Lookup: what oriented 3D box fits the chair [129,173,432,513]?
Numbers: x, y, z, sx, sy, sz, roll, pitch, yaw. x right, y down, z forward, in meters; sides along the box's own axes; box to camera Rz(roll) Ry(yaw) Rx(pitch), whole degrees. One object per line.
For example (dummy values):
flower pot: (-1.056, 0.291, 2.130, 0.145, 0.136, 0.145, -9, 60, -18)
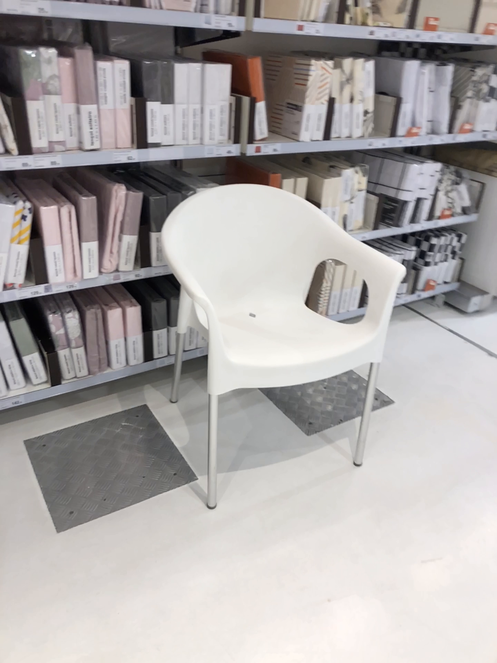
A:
chair: (0.032, -0.018, 1.560, 0.591, 0.705, 0.553, -9, 31, -22)
